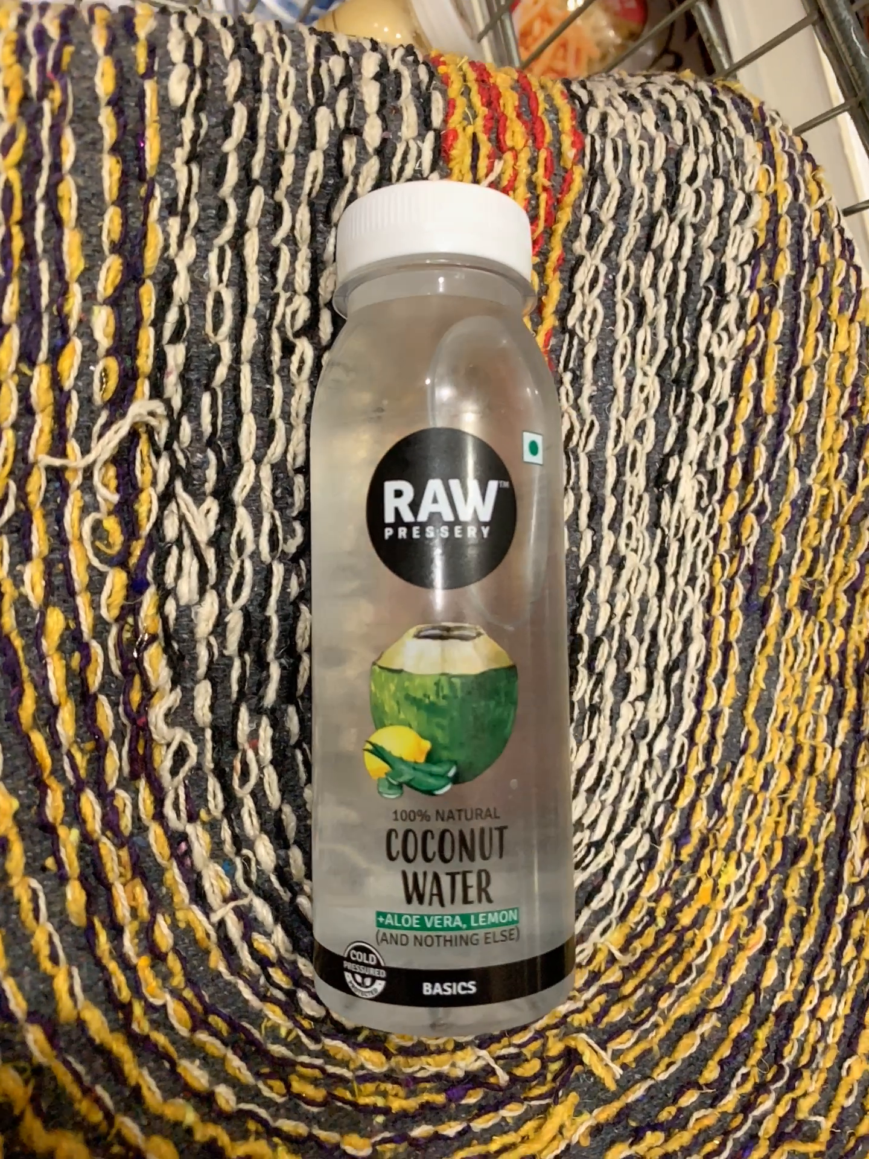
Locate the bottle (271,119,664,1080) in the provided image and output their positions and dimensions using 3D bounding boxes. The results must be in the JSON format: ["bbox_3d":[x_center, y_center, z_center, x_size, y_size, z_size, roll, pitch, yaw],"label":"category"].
[{"bbox_3d":[0.001,0.002,0.170,0.060,0.050,0.150,-1,84,-9],"label":"bottle"}]
